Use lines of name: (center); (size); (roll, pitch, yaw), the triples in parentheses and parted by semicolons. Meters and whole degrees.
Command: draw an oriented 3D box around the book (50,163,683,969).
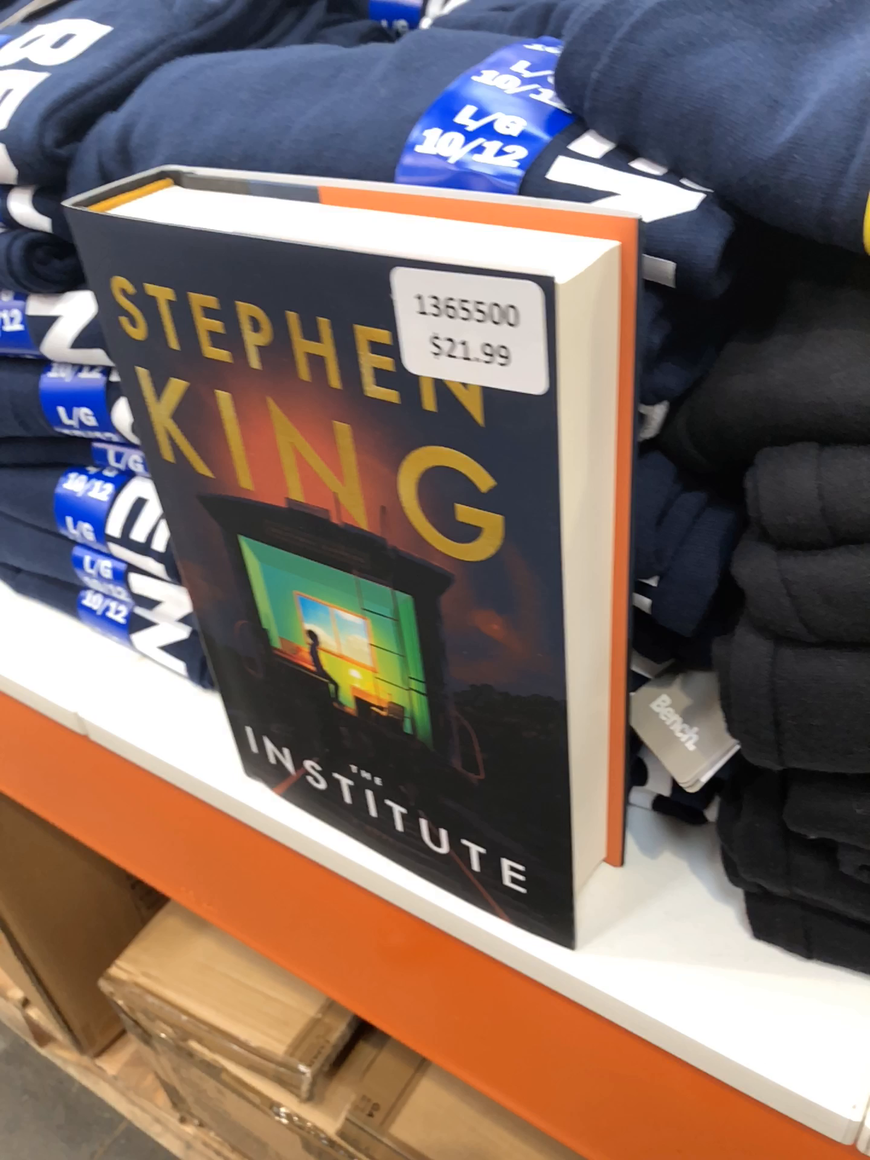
book: (-0.016, -0.001, 0.312); (0.167, 0.229, 0.050); (19, 42, 31)
